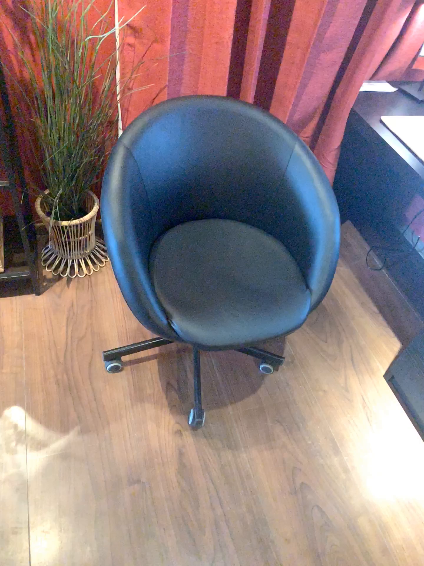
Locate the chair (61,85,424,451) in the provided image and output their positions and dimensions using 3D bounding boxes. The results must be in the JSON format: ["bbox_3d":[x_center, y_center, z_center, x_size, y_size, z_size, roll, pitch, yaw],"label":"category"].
[{"bbox_3d":[-0.023,-0.059,1.288,0.670,0.757,0.672,-9,51,-19],"label":"chair"}]
